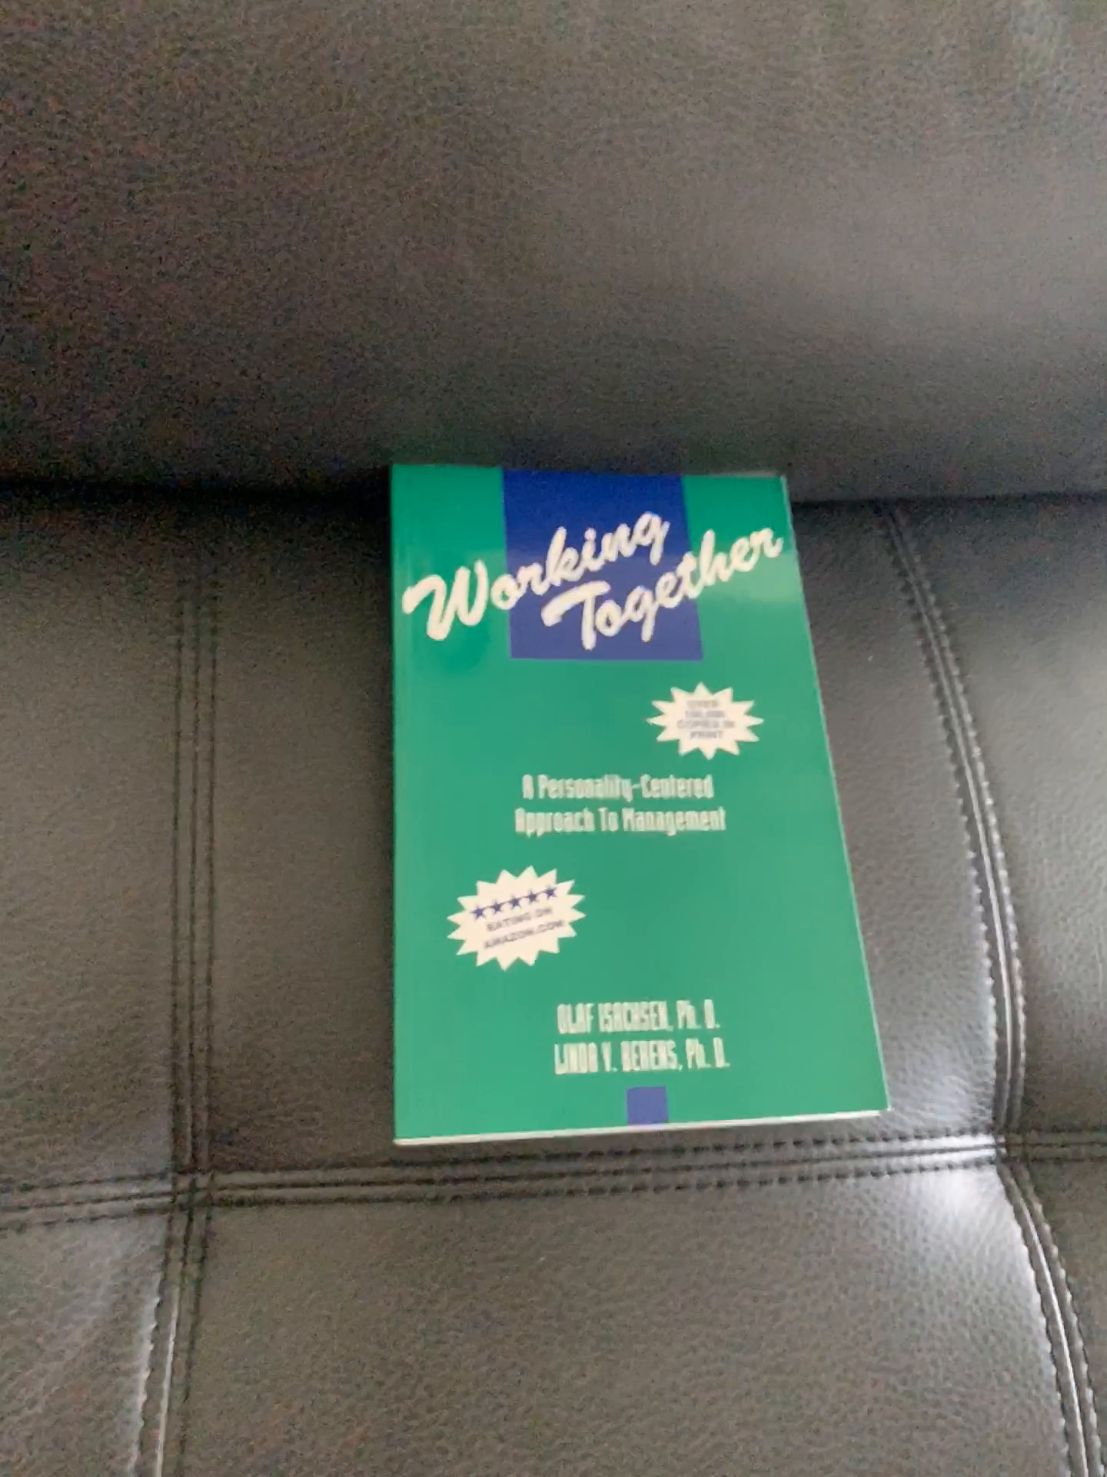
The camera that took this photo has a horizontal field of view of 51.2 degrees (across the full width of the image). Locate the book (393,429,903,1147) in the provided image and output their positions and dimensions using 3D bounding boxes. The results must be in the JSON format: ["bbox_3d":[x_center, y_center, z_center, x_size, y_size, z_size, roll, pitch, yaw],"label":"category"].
[{"bbox_3d":[0.020,0.008,0.360,0.137,0.033,0.217,1,68,-11],"label":"book"}]
